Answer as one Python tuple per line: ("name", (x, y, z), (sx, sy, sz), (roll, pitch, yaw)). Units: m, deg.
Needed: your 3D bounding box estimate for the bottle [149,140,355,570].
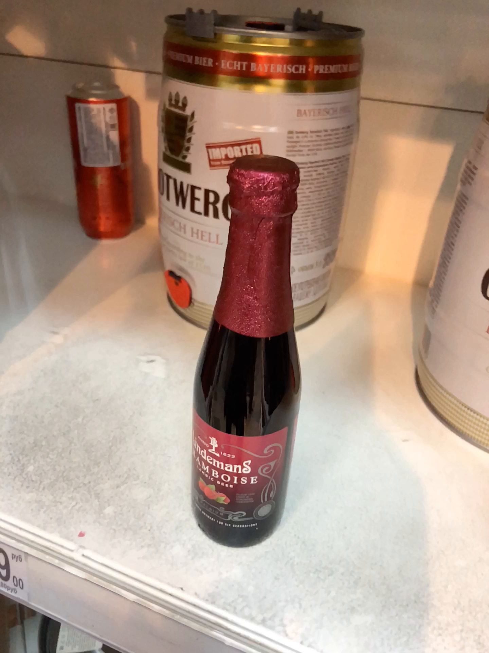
("bottle", (0.000, 0.022, 0.266), (0.058, 0.199, 0.058), (2, 33, -1))
